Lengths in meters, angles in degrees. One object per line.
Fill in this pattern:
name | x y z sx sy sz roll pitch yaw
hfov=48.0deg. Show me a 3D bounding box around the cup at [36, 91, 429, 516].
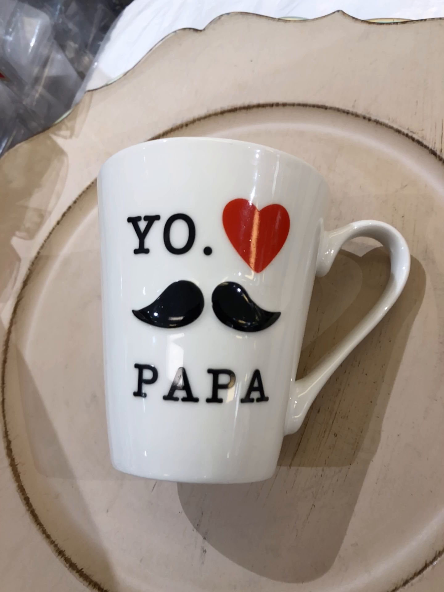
cup | 0.005 0.006 0.193 0.110 0.090 0.120 0 82 -3
